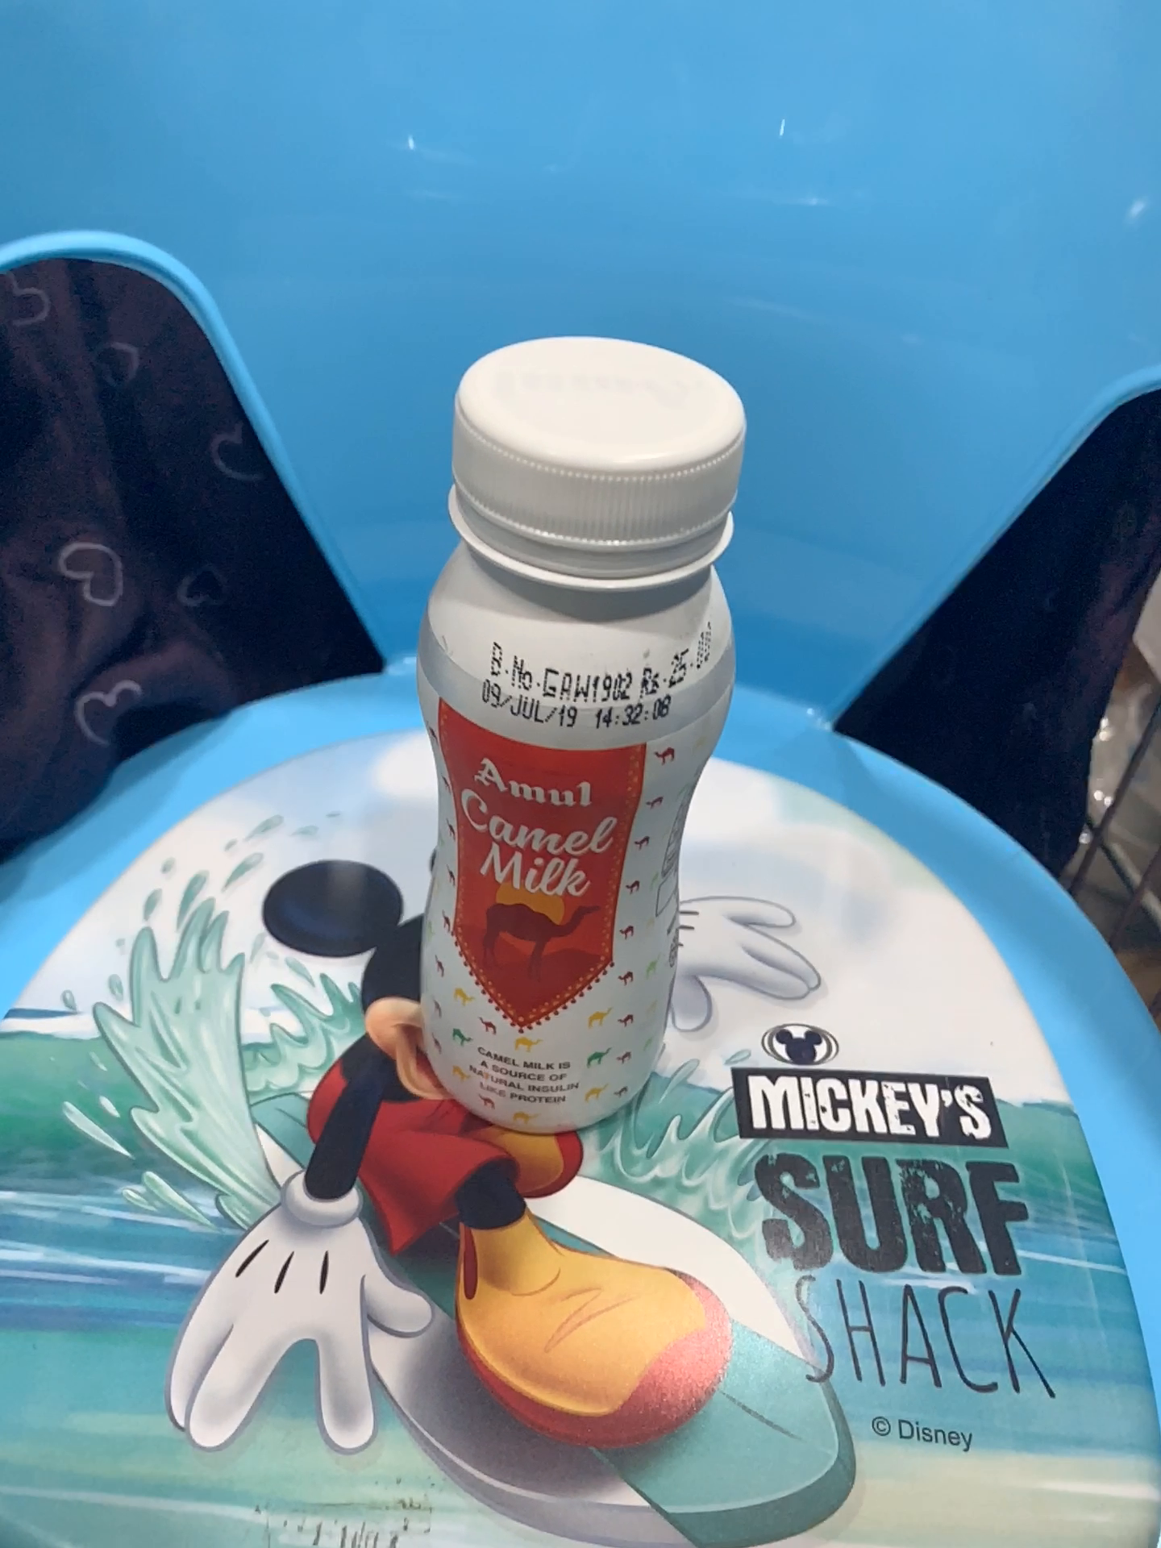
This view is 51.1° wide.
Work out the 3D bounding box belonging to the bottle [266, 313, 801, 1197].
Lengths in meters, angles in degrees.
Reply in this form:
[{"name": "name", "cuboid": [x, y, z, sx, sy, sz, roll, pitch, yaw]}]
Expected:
[{"name": "bottle", "cuboid": [-0.007, 0.001, 0.206, 0.060, 0.129, 0.060, 3, 37, -2]}]
